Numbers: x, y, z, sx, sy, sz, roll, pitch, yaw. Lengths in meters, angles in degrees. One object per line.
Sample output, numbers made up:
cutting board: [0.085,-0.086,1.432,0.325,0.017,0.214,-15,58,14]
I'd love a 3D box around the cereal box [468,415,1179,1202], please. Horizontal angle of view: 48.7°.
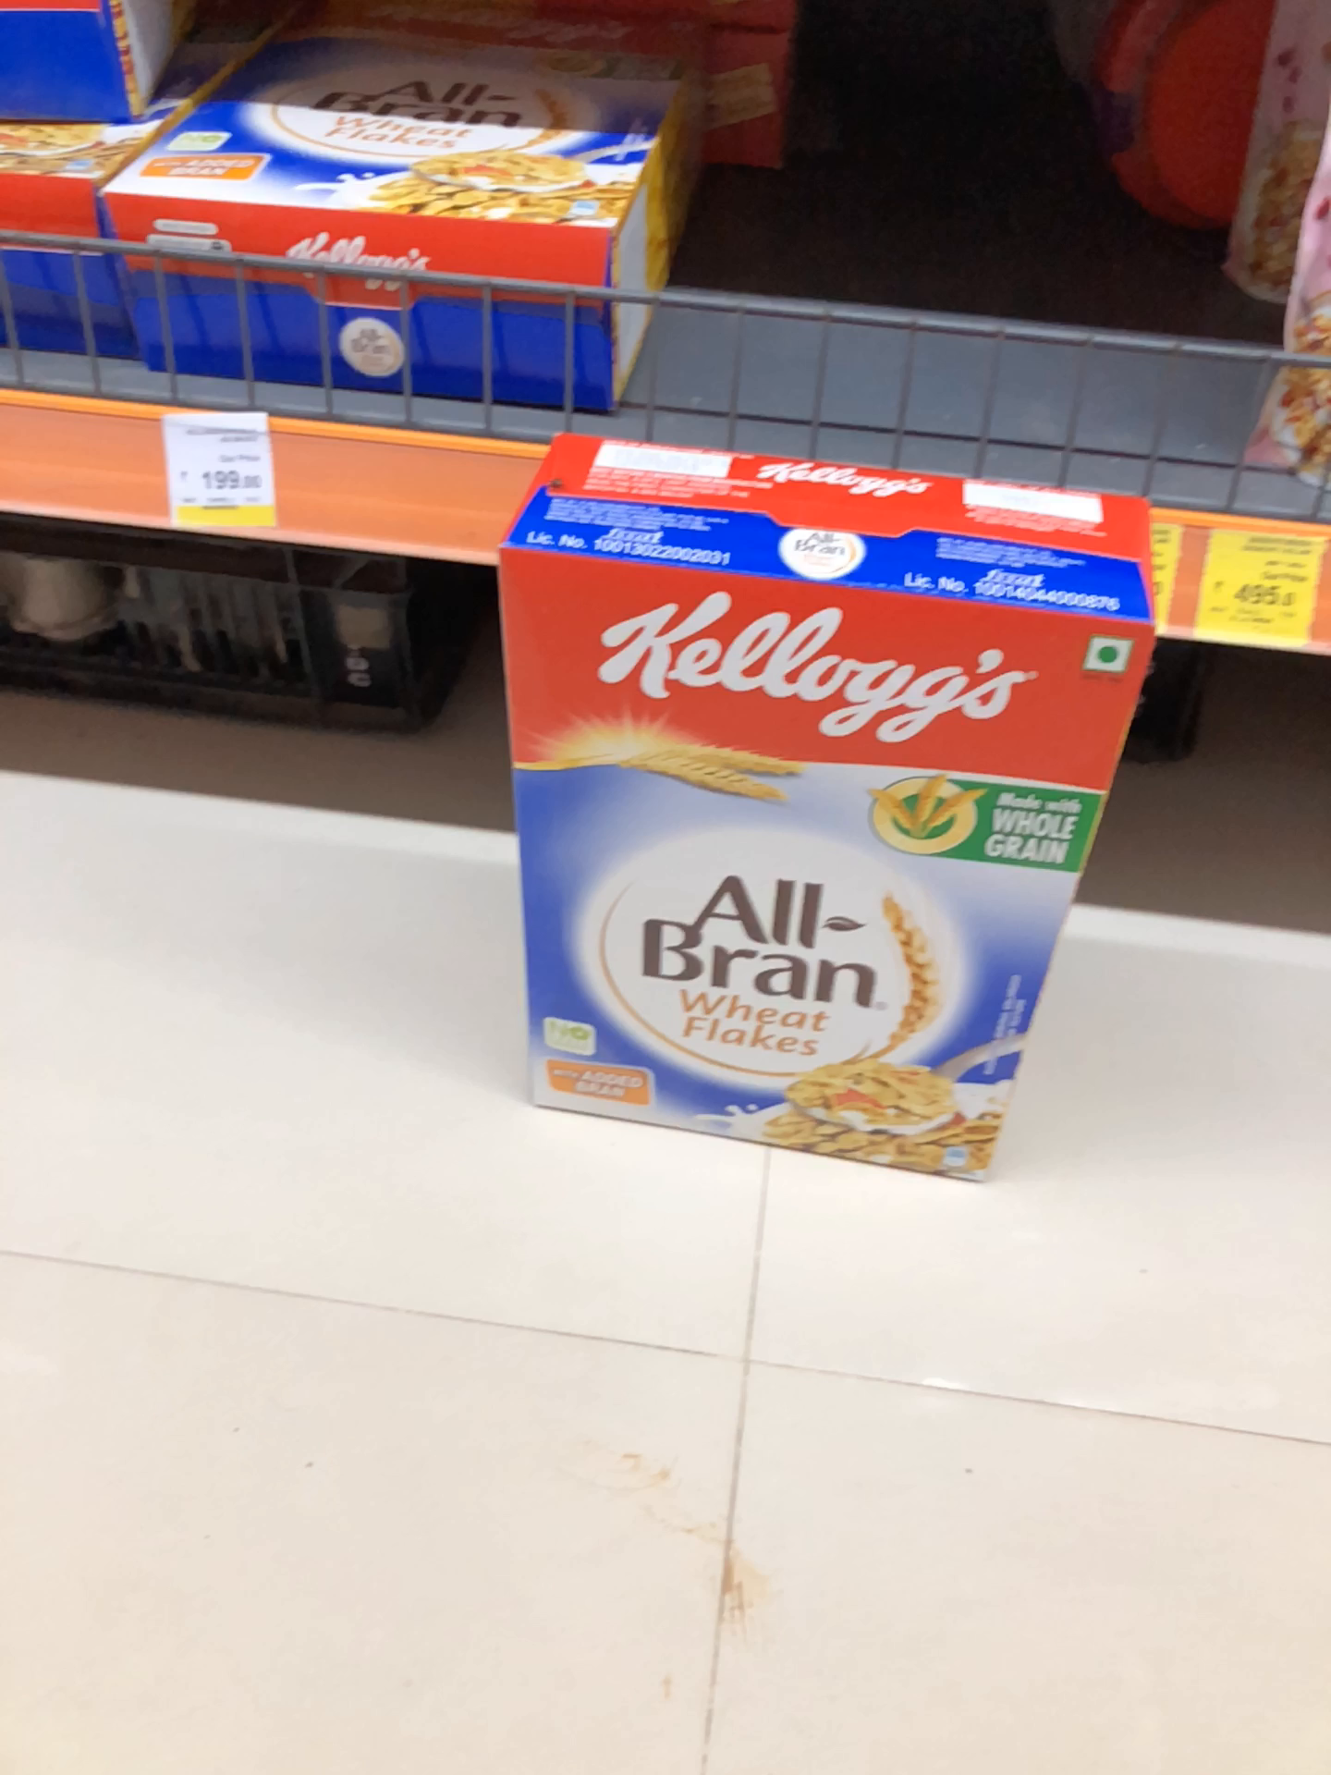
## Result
cereal box: [0.043,-0.014,0.510,0.190,0.258,0.081,8,45,6]
